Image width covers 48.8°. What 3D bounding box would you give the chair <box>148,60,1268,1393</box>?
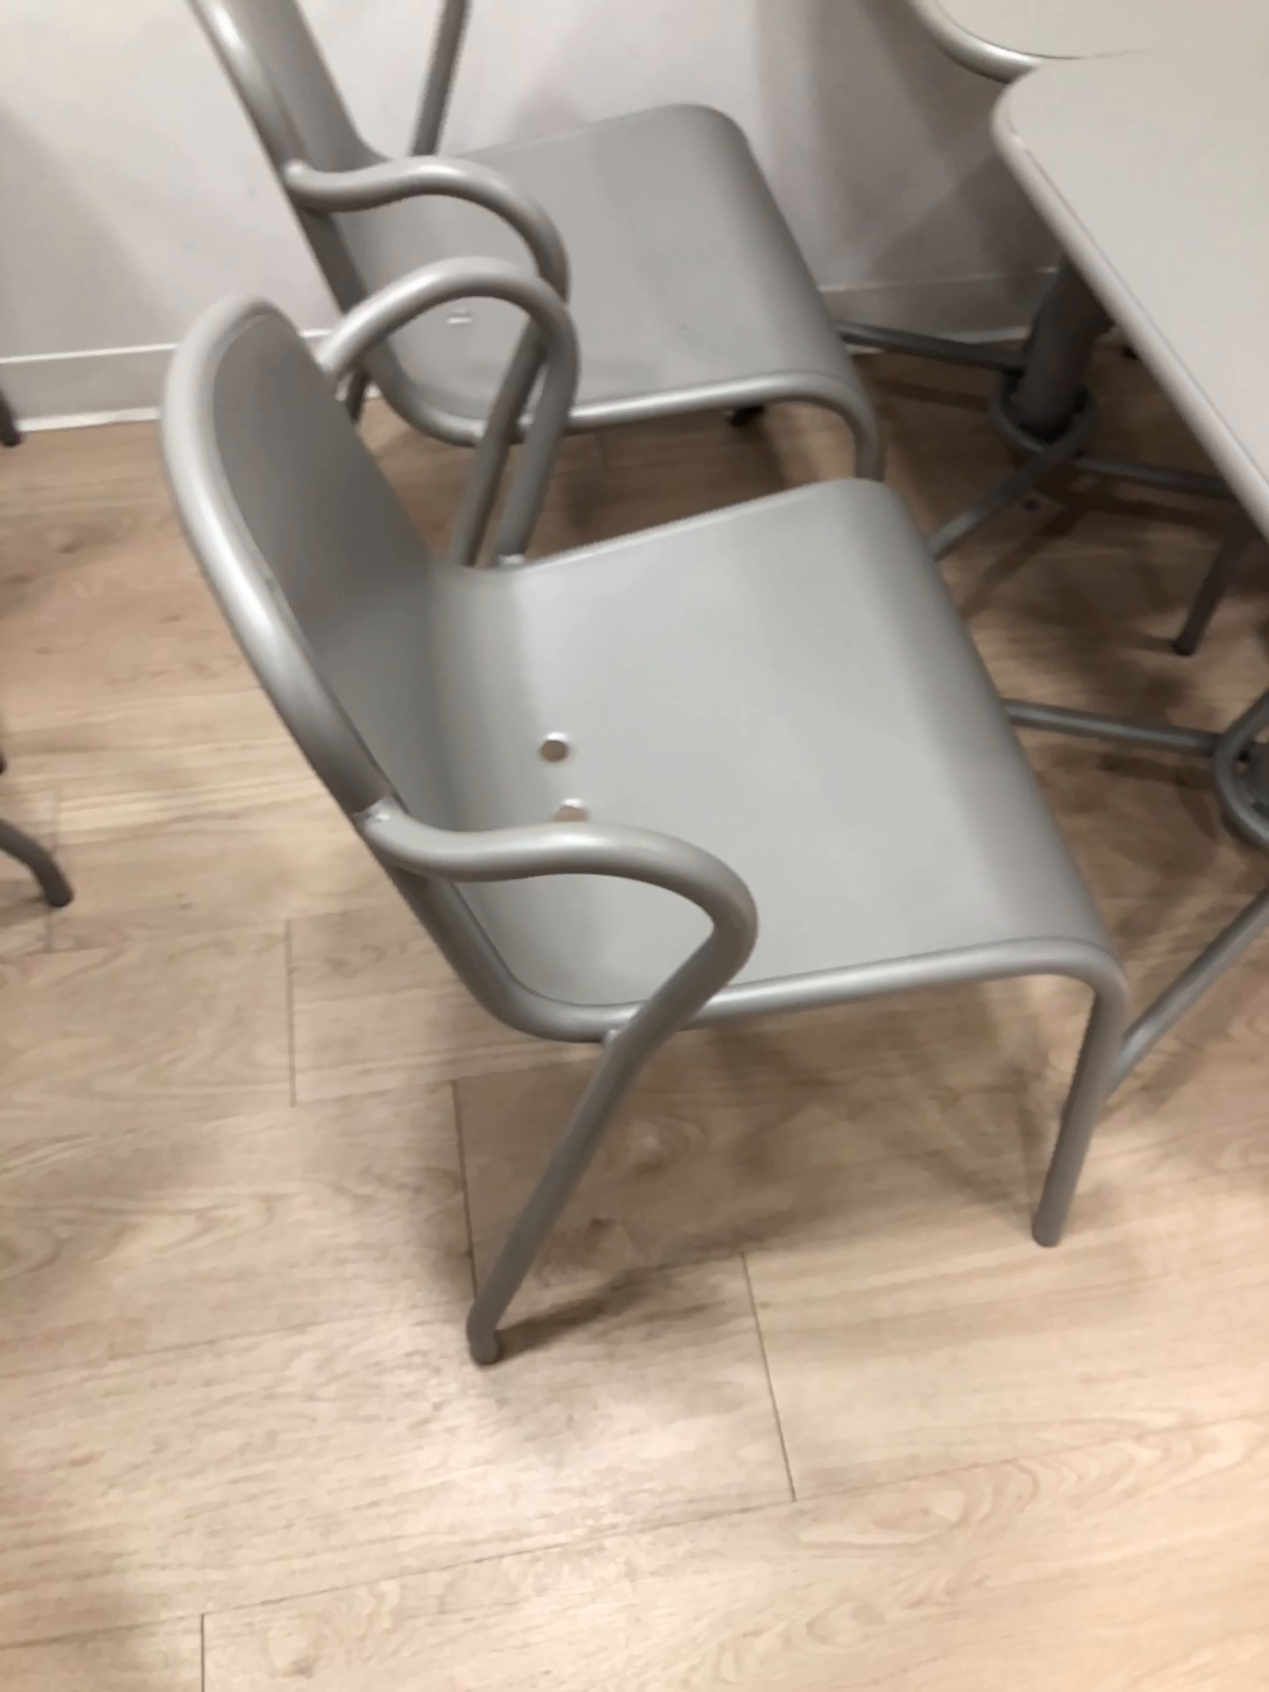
[{"bbox_3d":[0.080,-0.022,0.944,0.610,0.707,0.482,-9,57,-7],"label":"chair"}]
